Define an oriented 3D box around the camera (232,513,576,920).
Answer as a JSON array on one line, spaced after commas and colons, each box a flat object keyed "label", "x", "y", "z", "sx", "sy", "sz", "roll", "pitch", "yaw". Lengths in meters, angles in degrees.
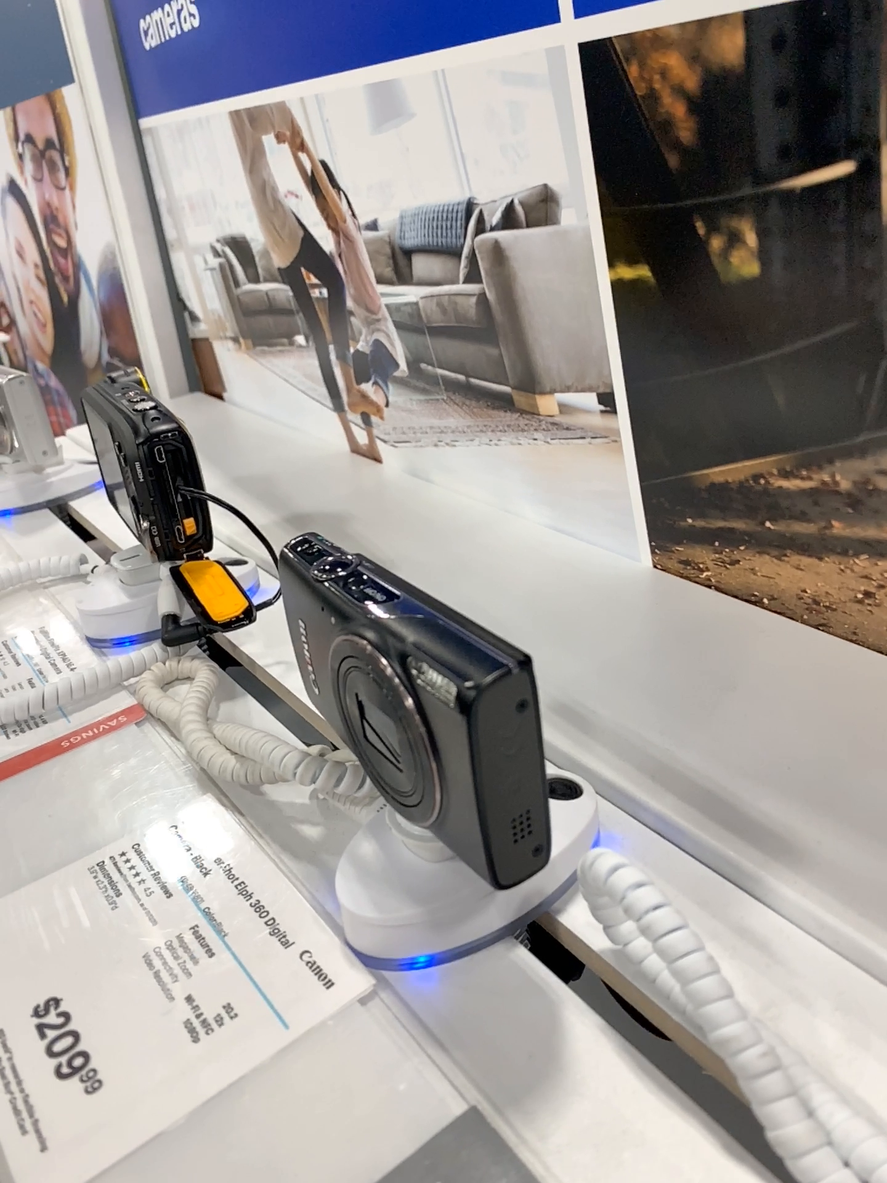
[{"label": "camera", "x": -0.014, "y": 0.024, "z": 0.231, "sx": 0.027, "sy": 0.055, "sz": 0.106, "roll": -22, "pitch": 31, "yaw": -29}]
